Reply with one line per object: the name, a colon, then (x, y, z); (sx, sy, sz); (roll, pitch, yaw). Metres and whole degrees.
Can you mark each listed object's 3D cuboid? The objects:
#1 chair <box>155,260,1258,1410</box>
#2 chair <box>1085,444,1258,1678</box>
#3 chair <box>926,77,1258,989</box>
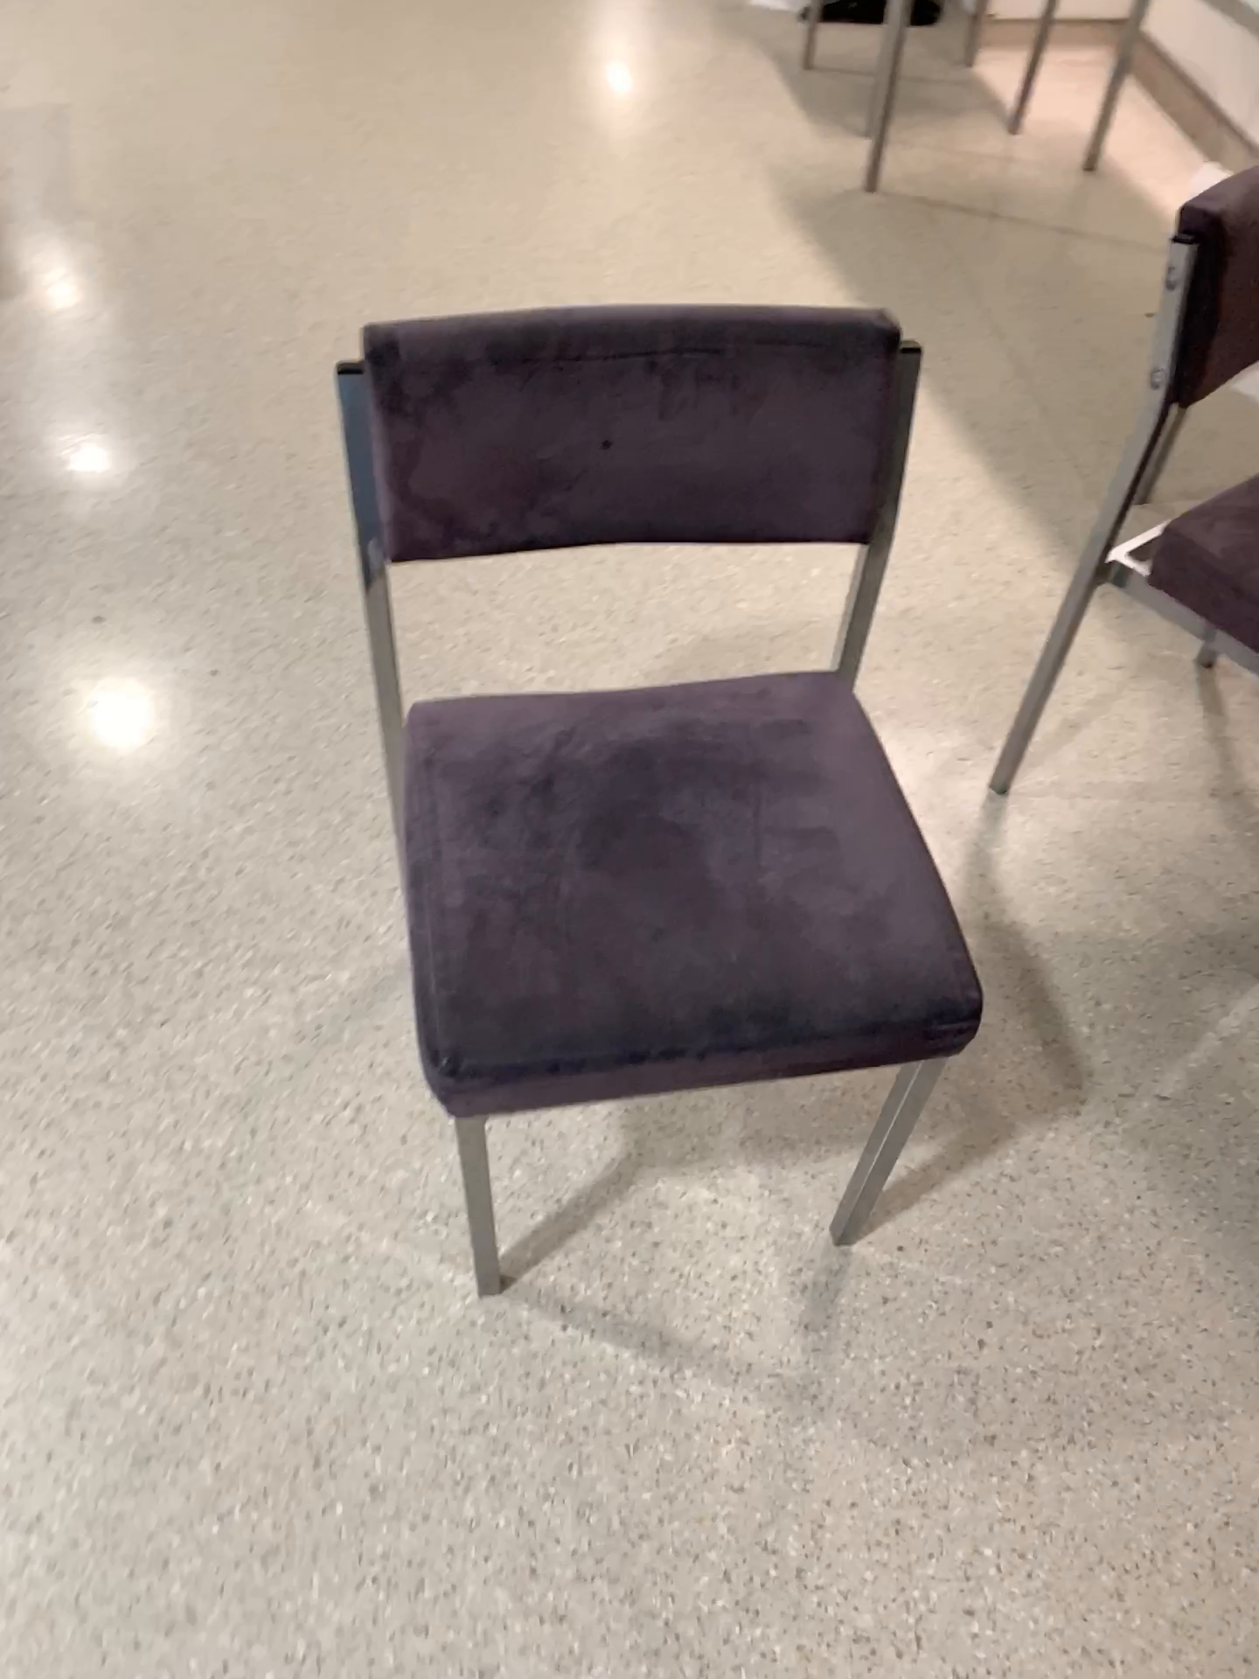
chair: (0.057, -0.038, 1.009); (0.680, 0.505, 0.686); (-5, 51, -9)
chair: (0.775, 0.338, 0.624); (0.512, 0.614, 0.744); (-32, 59, -25)
chair: (0.816, -0.365, 1.380); (0.742, 0.614, 0.513); (-25, 49, -24)
